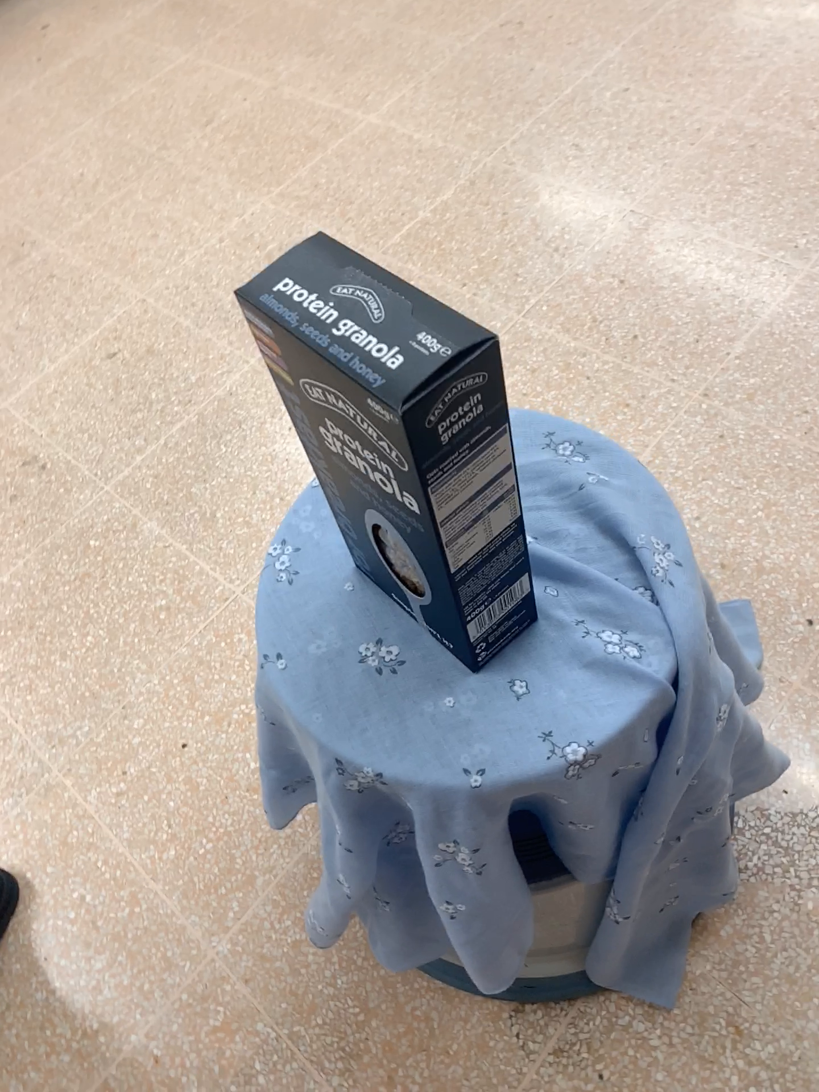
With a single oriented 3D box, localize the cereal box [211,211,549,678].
[{"bbox_3d":[-0.001,-0.040,0.461,0.070,0.238,0.131,-42,59,-15],"label":"cereal box"}]
